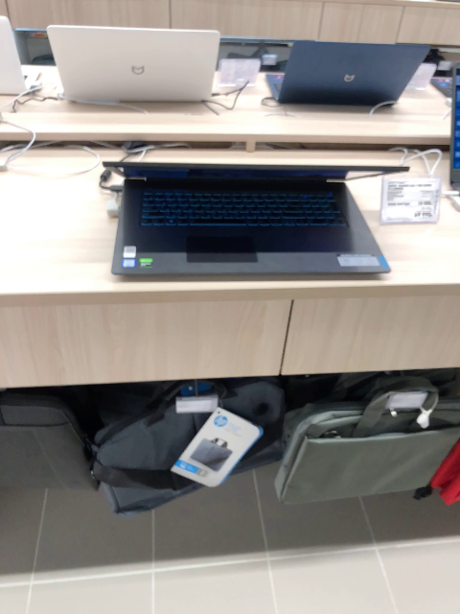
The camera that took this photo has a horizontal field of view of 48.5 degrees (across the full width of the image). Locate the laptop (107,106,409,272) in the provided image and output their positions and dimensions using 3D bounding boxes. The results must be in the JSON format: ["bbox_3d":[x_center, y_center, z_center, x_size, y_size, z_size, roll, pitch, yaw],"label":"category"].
[{"bbox_3d":[0.028,-0.192,0.792,0.389,0.129,0.272,-1,41,-6],"label":"laptop"}]
